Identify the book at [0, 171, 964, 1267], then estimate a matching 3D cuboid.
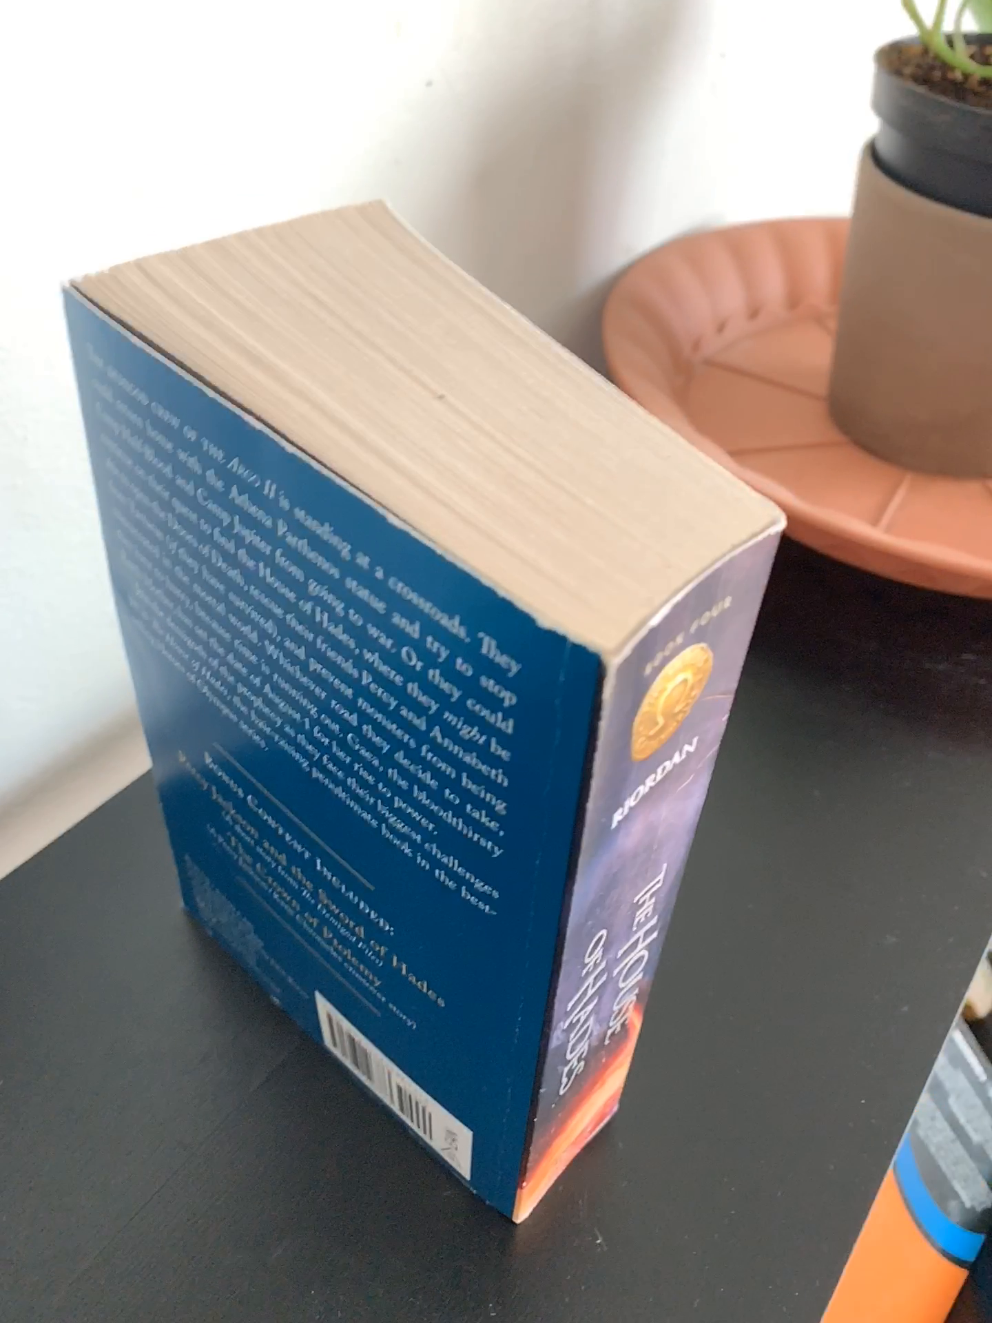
[{"bbox_3d":[-0.014,0.013,0.224,0.145,0.175,0.078,33,50,29],"label":"book"}]
